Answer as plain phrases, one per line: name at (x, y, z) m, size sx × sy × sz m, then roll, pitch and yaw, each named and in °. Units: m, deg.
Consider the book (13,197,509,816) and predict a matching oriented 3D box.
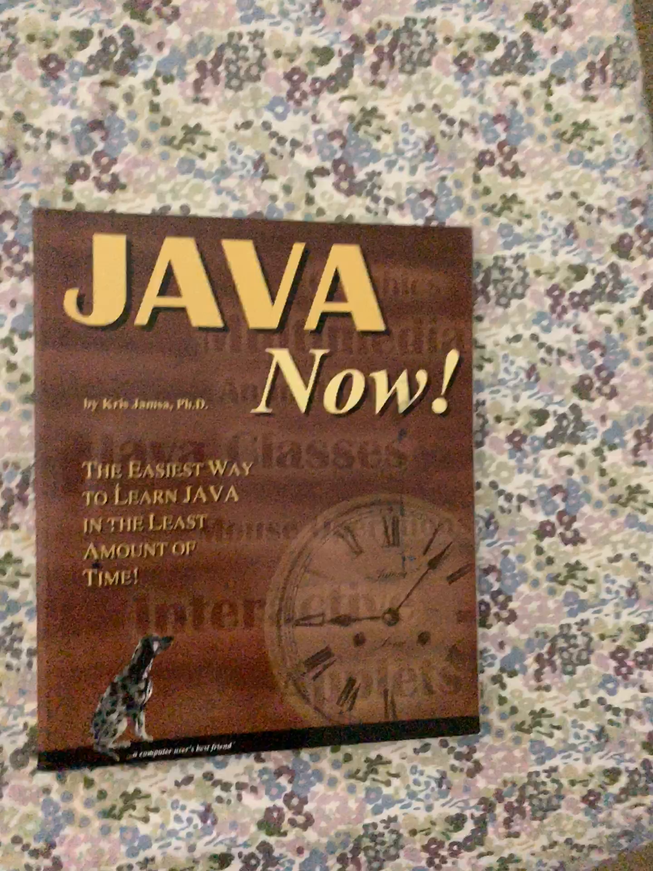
book at (-0.024, 0.029, 0.318) m, size 0.220 × 0.030 × 0.260 m, roll -1°, pitch 91°, yaw -11°
